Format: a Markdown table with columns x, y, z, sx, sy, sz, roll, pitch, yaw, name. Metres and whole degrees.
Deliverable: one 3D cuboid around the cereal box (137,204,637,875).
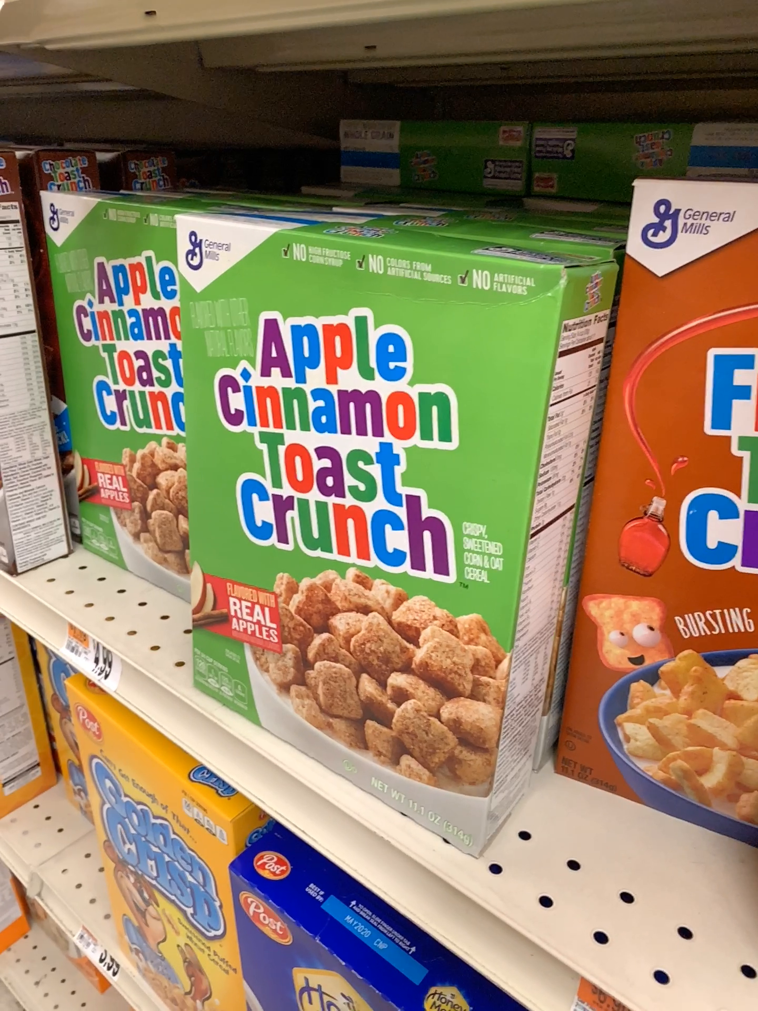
| x | y | z | sx | sy | sz | roll | pitch | yaw | name |
| --- | --- | --- | --- | --- | --- | --- | --- | --- | --- |
| -0.012 | 0.008 | 0.377 | 0.210 | 0.269 | 0.060 | 20 | 30 | 32 | cereal box |
